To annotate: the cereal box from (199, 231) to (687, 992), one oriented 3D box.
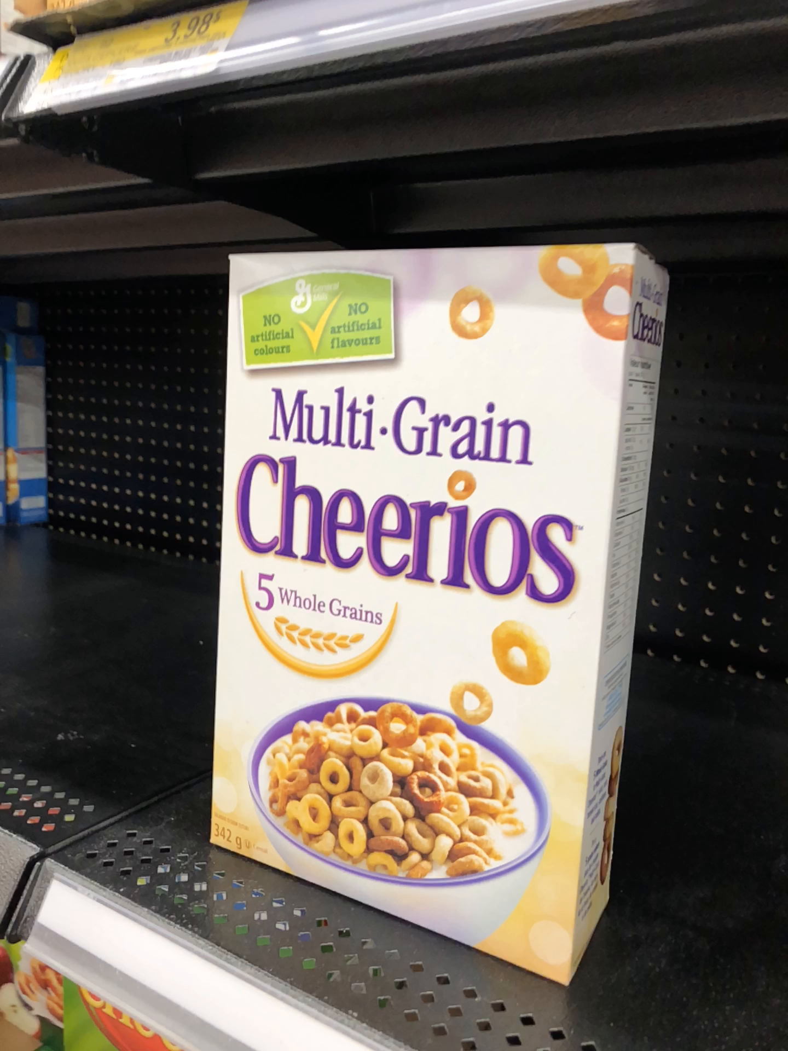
[{"bbox_3d":[0.011,0.024,0.403,0.200,0.289,0.070,8,9,30],"label":"cereal box"}]
